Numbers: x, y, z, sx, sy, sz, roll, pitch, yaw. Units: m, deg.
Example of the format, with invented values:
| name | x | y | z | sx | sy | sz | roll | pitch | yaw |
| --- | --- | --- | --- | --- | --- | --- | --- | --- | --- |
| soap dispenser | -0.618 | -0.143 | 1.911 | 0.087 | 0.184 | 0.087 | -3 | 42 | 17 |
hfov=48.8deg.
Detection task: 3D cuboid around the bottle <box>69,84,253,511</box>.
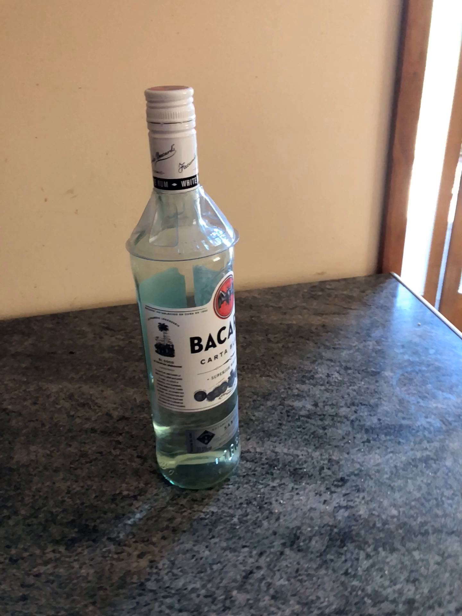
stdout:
| name | x | y | z | sx | sy | sz | roll | pitch | yaw |
| --- | --- | --- | --- | --- | --- | --- | --- | --- | --- |
| bottle | -0.036 | 0.001 | 0.374 | 0.080 | 0.298 | 0.081 | -2 | 26 | 1 |
